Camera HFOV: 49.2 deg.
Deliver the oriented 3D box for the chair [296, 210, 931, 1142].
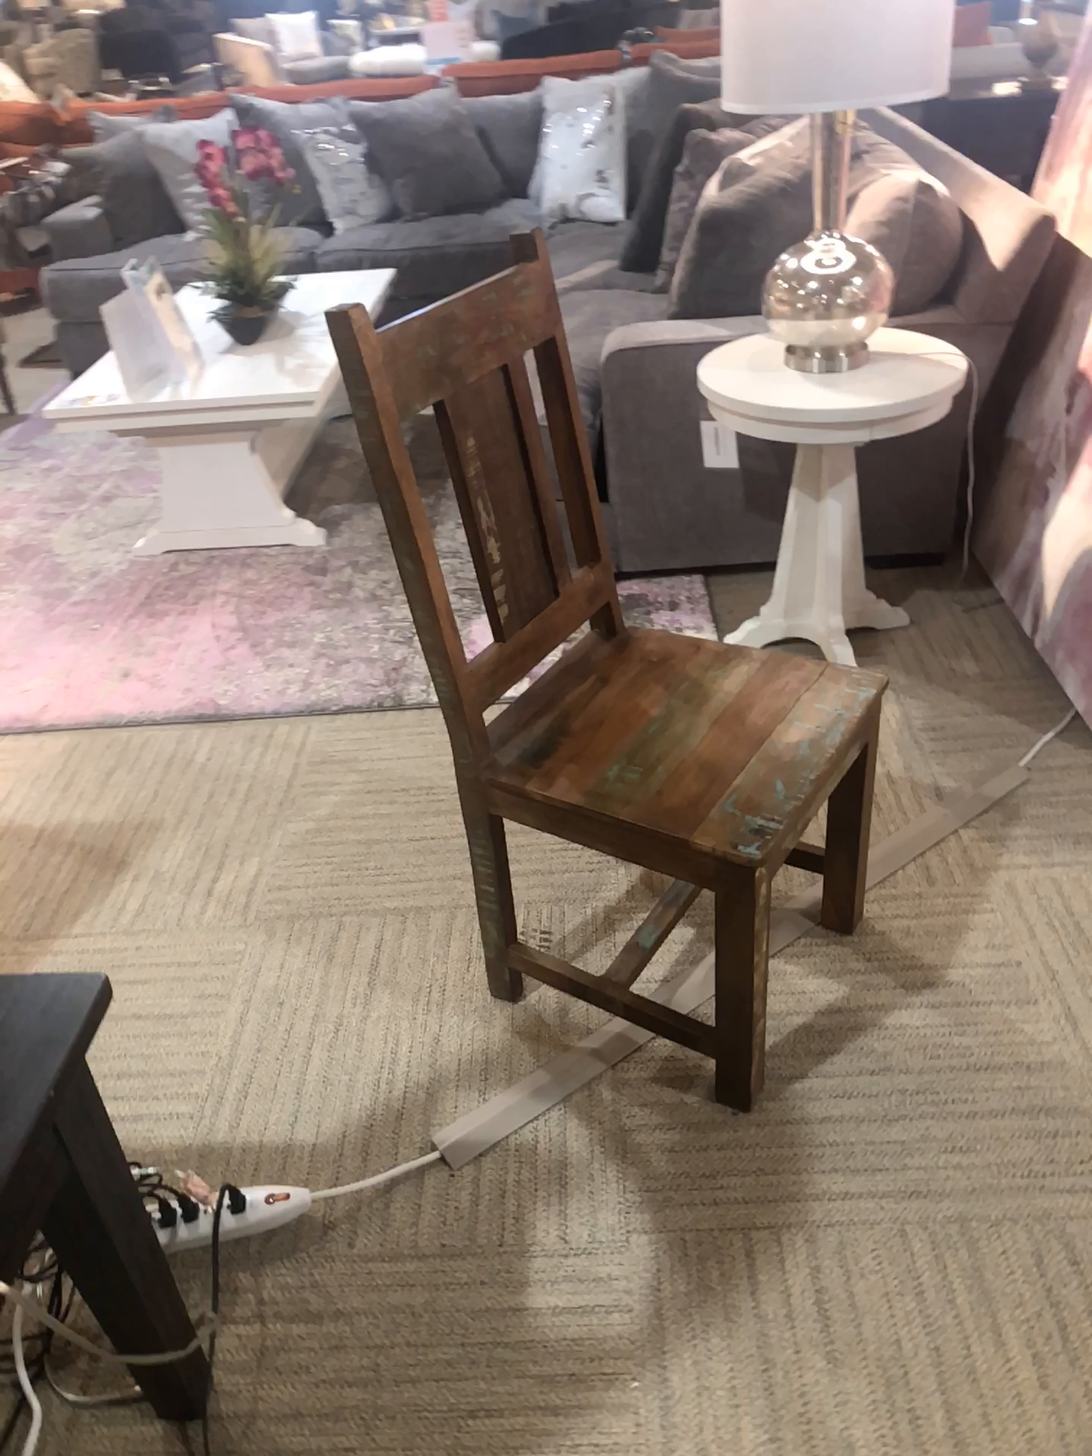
[{"bbox_3d":[0.131,-0.070,1.550,0.511,1.024,0.477,14,39,28],"label":"chair"}]
